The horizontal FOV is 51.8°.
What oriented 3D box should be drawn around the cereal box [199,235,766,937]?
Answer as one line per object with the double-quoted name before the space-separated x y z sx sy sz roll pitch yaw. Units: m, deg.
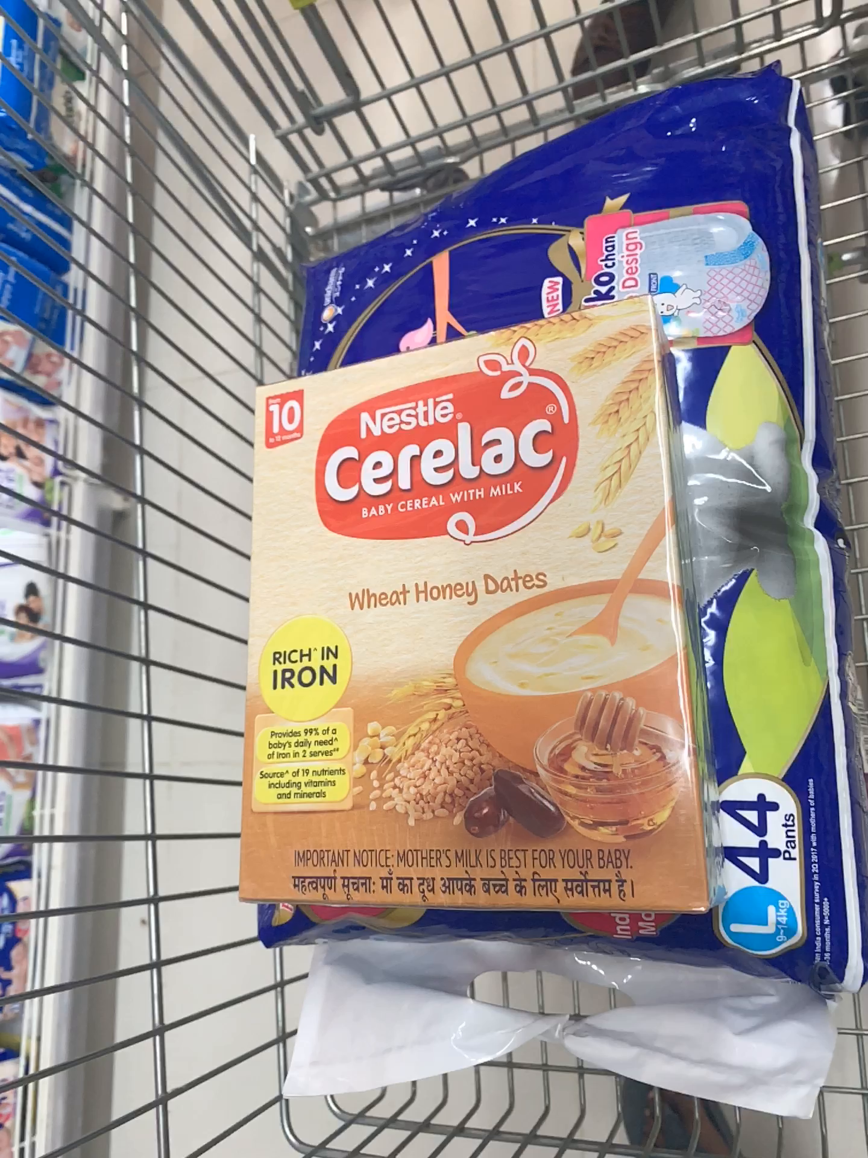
"cereal box" 0.011 0.009 0.293 0.161 0.060 0.190 -8 75 23
